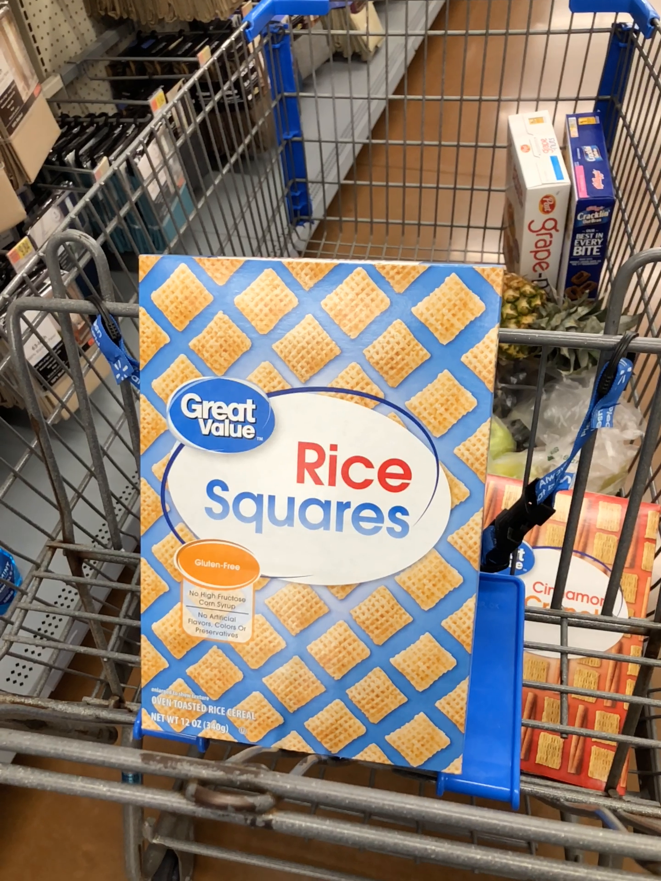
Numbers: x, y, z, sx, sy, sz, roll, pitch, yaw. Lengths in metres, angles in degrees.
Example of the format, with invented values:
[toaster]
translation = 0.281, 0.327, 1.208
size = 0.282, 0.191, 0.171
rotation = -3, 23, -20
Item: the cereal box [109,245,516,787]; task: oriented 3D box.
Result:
[cereal box]
translation = -0.013, 0.036, 0.429
size = 0.210, 0.280, 0.080
rotation = 4, 10, 10
